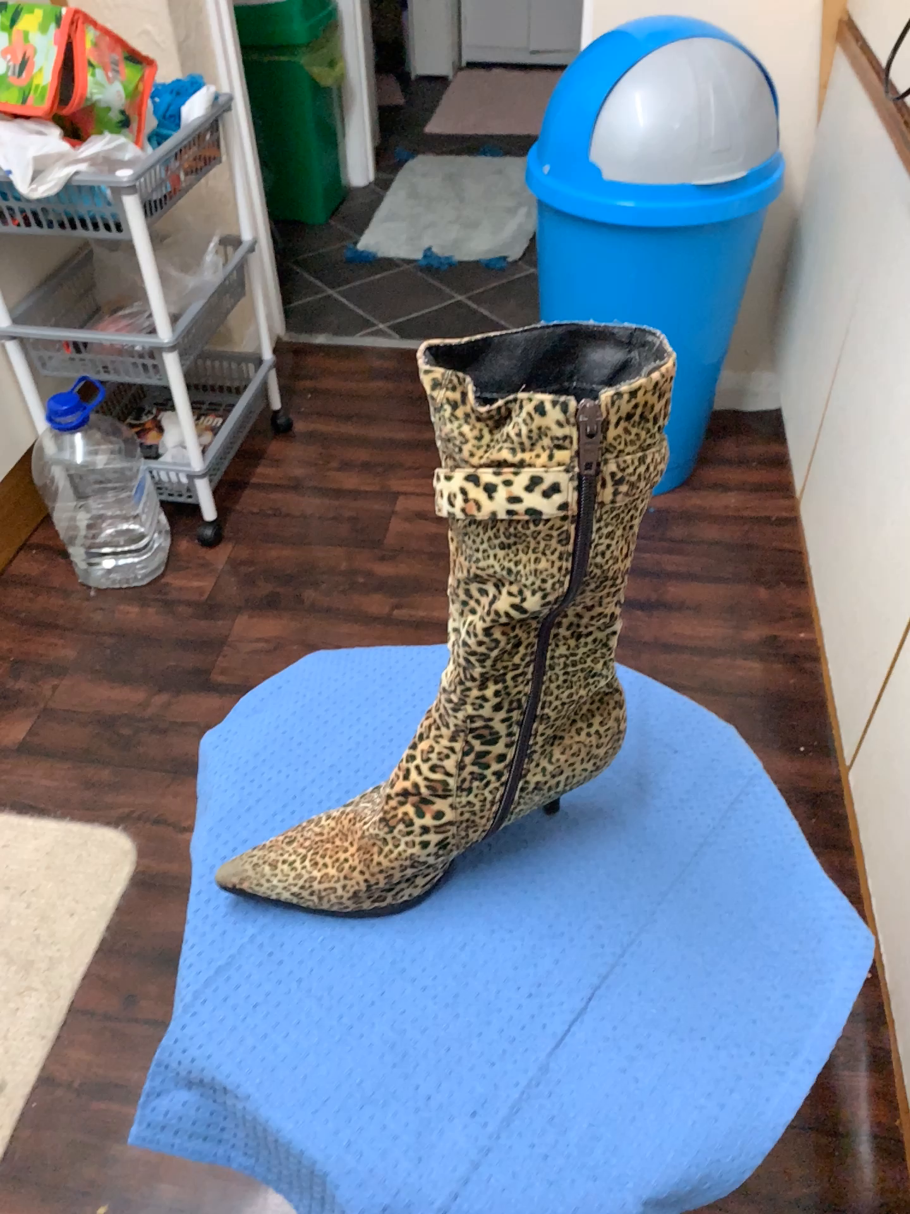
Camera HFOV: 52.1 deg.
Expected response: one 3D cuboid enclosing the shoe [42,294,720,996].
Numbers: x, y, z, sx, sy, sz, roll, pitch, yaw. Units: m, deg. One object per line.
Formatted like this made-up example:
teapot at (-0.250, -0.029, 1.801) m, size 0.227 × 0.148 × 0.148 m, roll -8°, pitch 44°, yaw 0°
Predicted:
shoe at (-0.028, 0.041, 0.499) m, size 0.260 × 0.347 × 0.101 m, roll -14°, pitch 44°, yaw -13°
